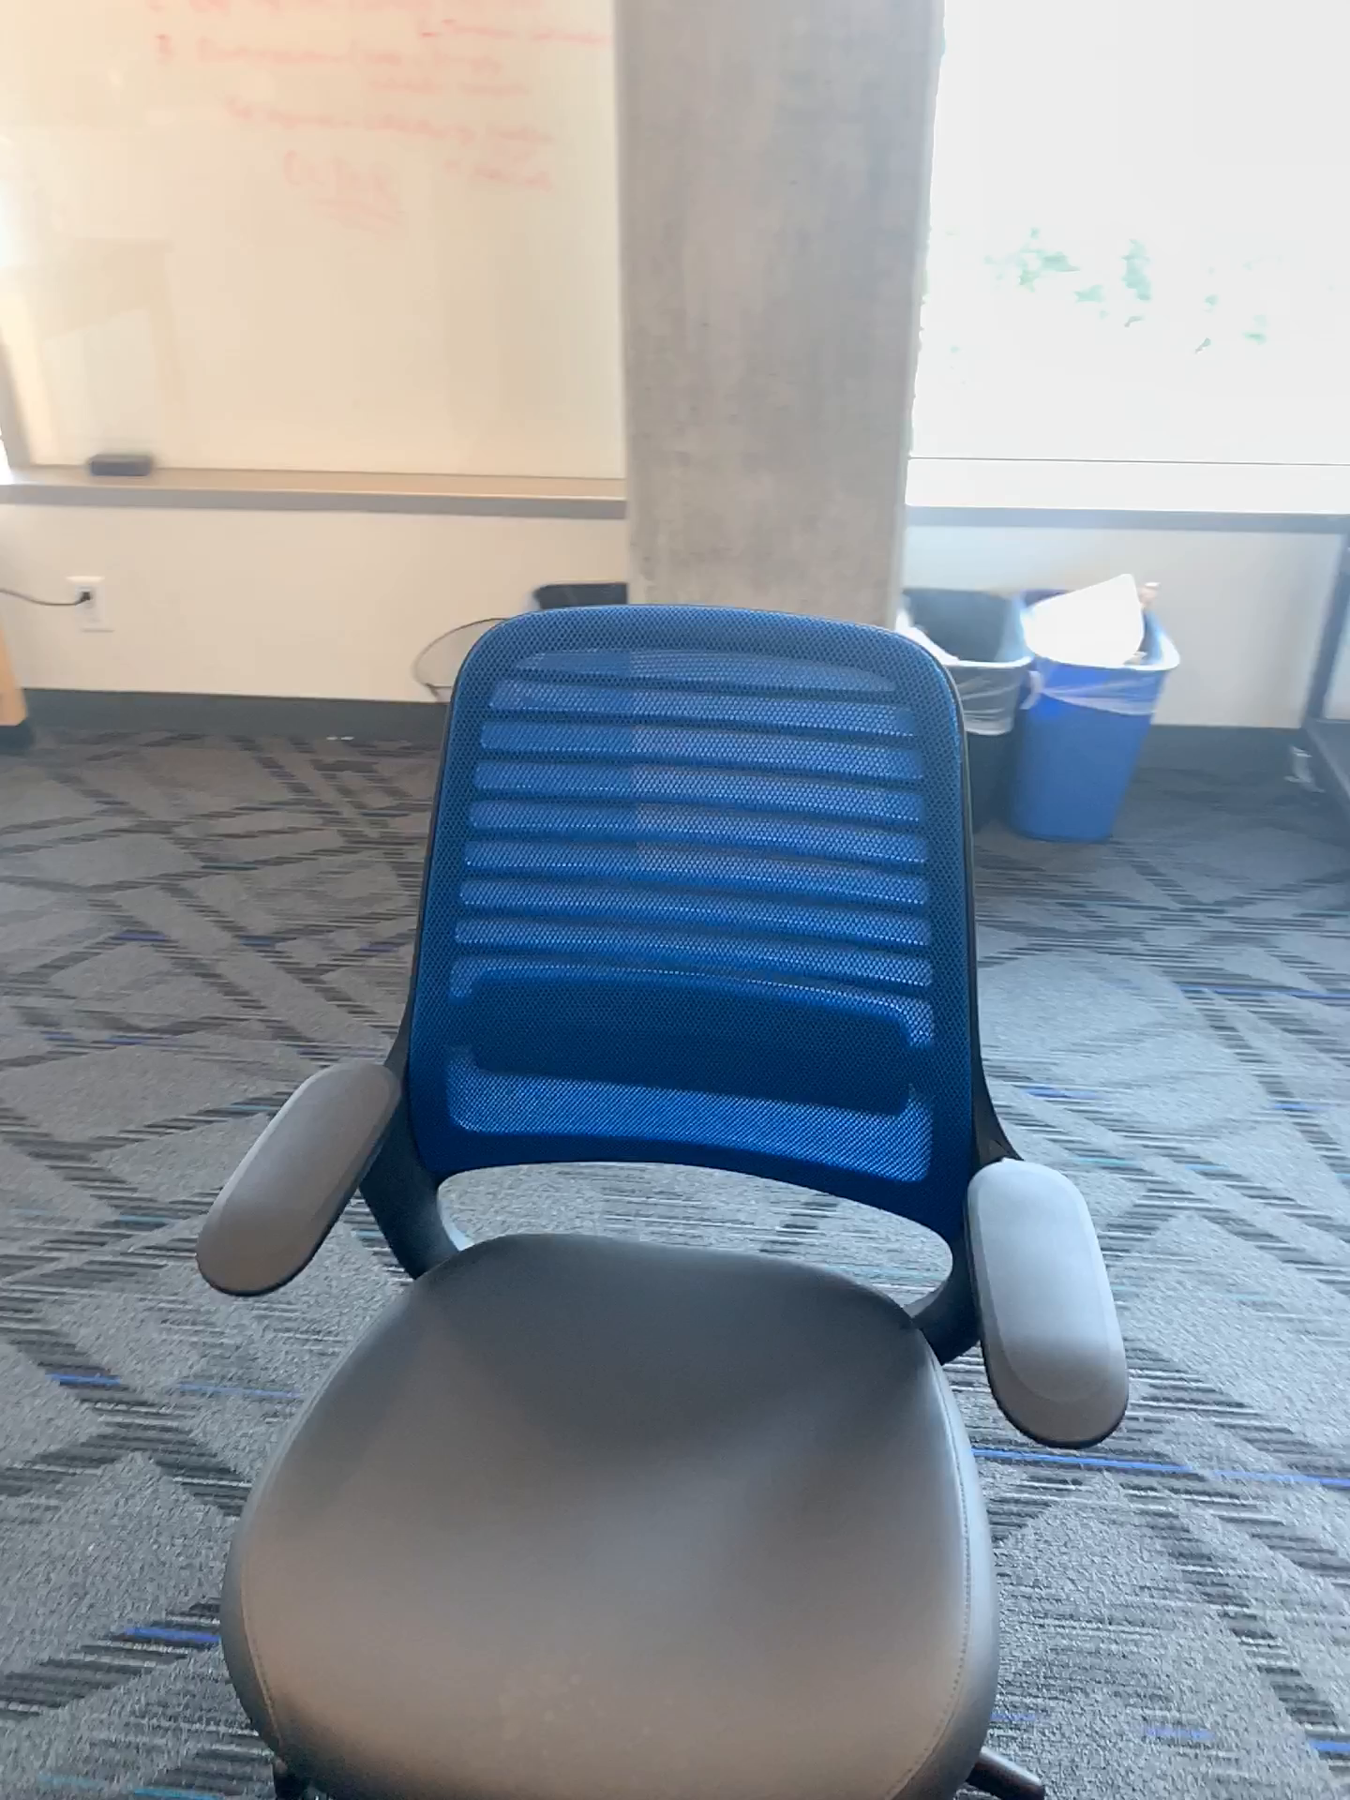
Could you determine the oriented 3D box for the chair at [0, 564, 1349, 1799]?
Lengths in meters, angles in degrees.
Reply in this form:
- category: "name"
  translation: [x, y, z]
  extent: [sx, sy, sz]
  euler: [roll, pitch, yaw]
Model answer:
- category: "chair"
  translation: [-0.013, 0.321, 0.946]
  extent: [0.700, 0.882, 0.686]
  euler: [2, 32, 5]
